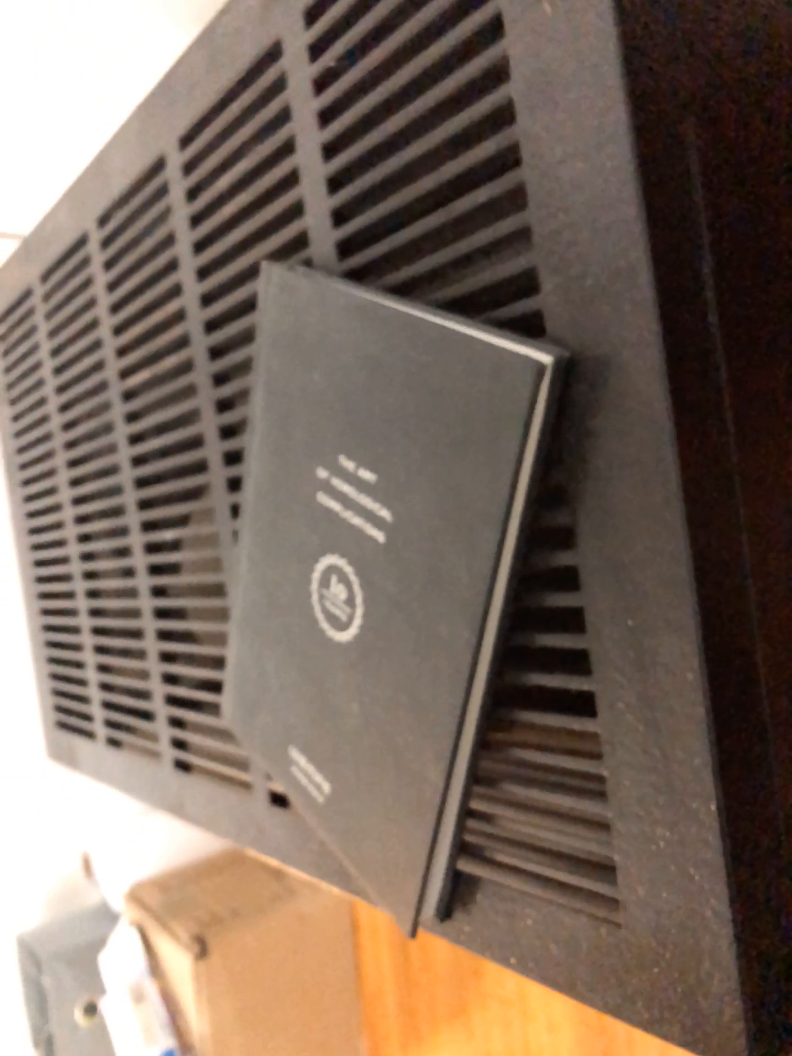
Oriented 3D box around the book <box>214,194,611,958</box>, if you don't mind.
[{"bbox_3d":[-0.015,0.012,0.348,0.161,0.020,0.250,33,121,45],"label":"book"}]
